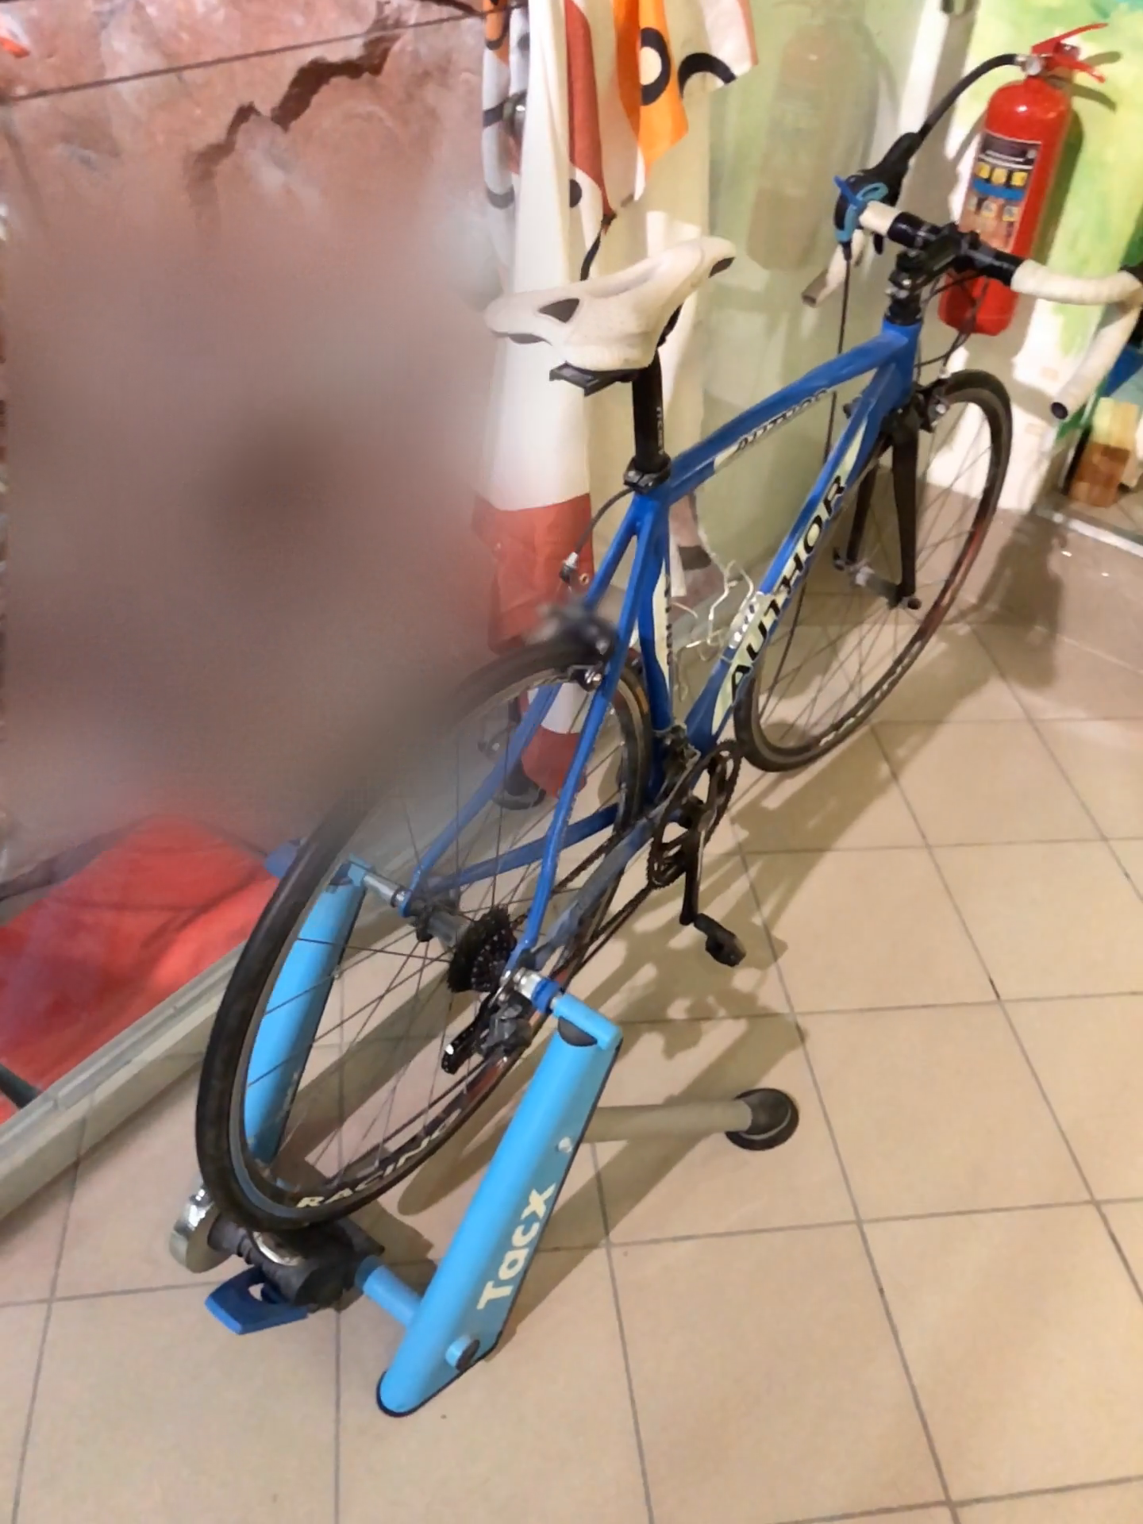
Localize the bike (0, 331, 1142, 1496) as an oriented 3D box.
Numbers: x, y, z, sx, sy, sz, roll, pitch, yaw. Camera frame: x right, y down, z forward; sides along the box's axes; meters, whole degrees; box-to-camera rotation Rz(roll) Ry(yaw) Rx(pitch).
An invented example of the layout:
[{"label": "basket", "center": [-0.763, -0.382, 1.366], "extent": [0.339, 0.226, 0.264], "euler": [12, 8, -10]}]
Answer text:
[{"label": "bike", "center": [0.190, -0.003, 1.555], "extent": [0.466, 0.683, 1.558], "euler": [29, 41, 26]}]
